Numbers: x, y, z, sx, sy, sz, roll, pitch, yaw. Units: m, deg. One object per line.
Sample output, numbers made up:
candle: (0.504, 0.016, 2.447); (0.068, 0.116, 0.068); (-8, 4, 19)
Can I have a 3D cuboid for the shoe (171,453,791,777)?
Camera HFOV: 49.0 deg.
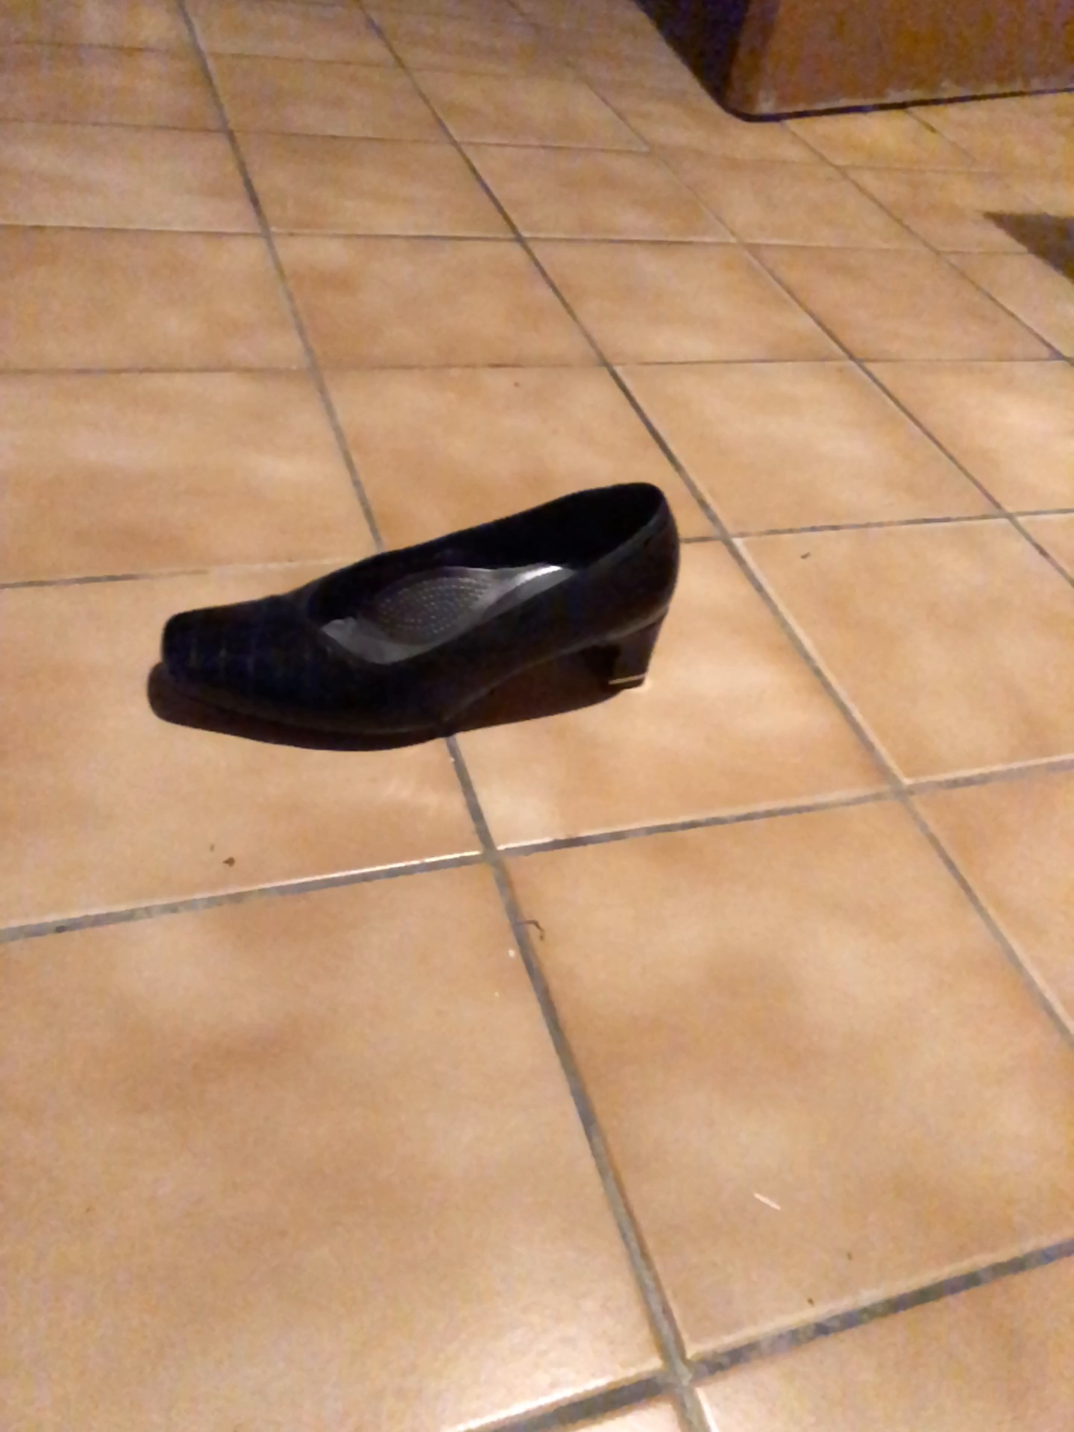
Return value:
shoe: (-0.030, -0.052, 0.534); (0.251, 0.089, 0.100); (-5, 45, -18)
